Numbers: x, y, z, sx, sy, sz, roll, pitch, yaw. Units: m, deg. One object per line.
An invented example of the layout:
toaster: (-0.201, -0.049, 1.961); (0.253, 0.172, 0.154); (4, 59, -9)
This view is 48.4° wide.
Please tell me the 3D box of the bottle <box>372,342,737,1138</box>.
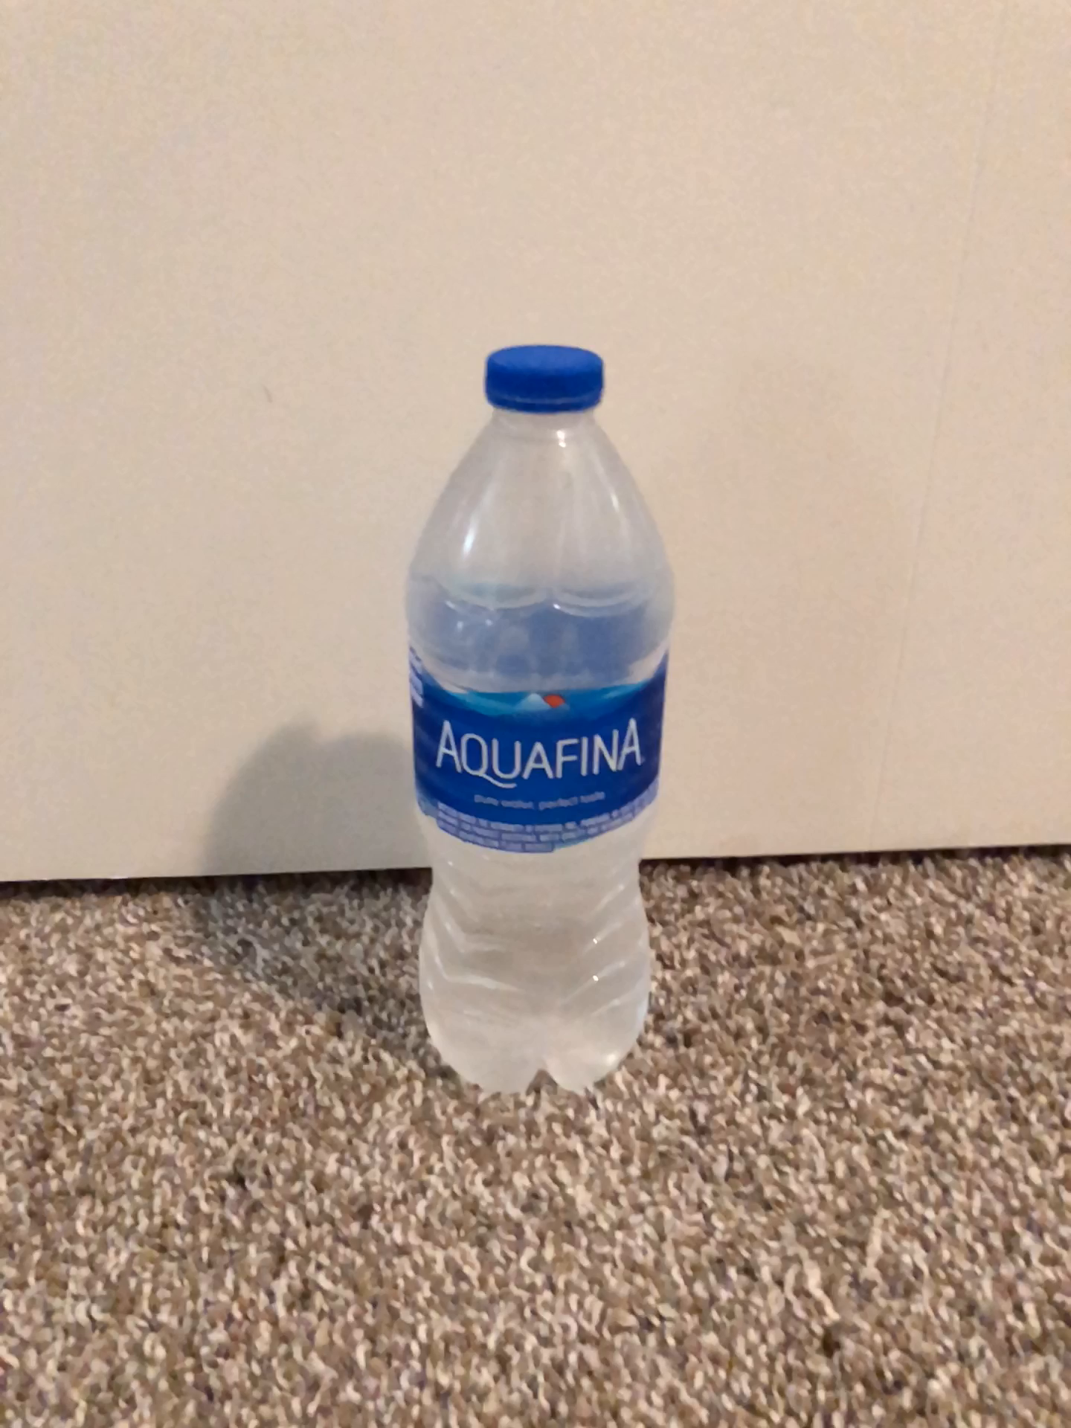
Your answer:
bottle: (0.002, 0.010, 0.301); (0.070, 0.189, 0.070); (1, 26, 0)
